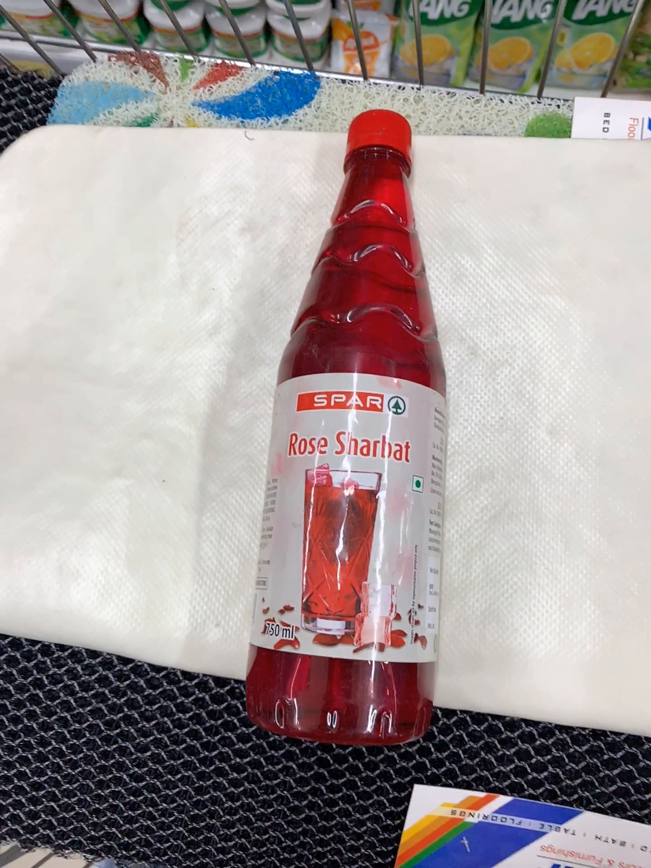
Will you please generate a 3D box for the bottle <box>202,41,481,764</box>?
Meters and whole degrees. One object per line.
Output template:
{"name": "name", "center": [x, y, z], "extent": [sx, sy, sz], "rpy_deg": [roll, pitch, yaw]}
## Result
{"name": "bottle", "center": [0.013, -0.017, 0.245], "extent": [0.070, 0.070, 0.230], "rpy_deg": [3, 77, 8]}
